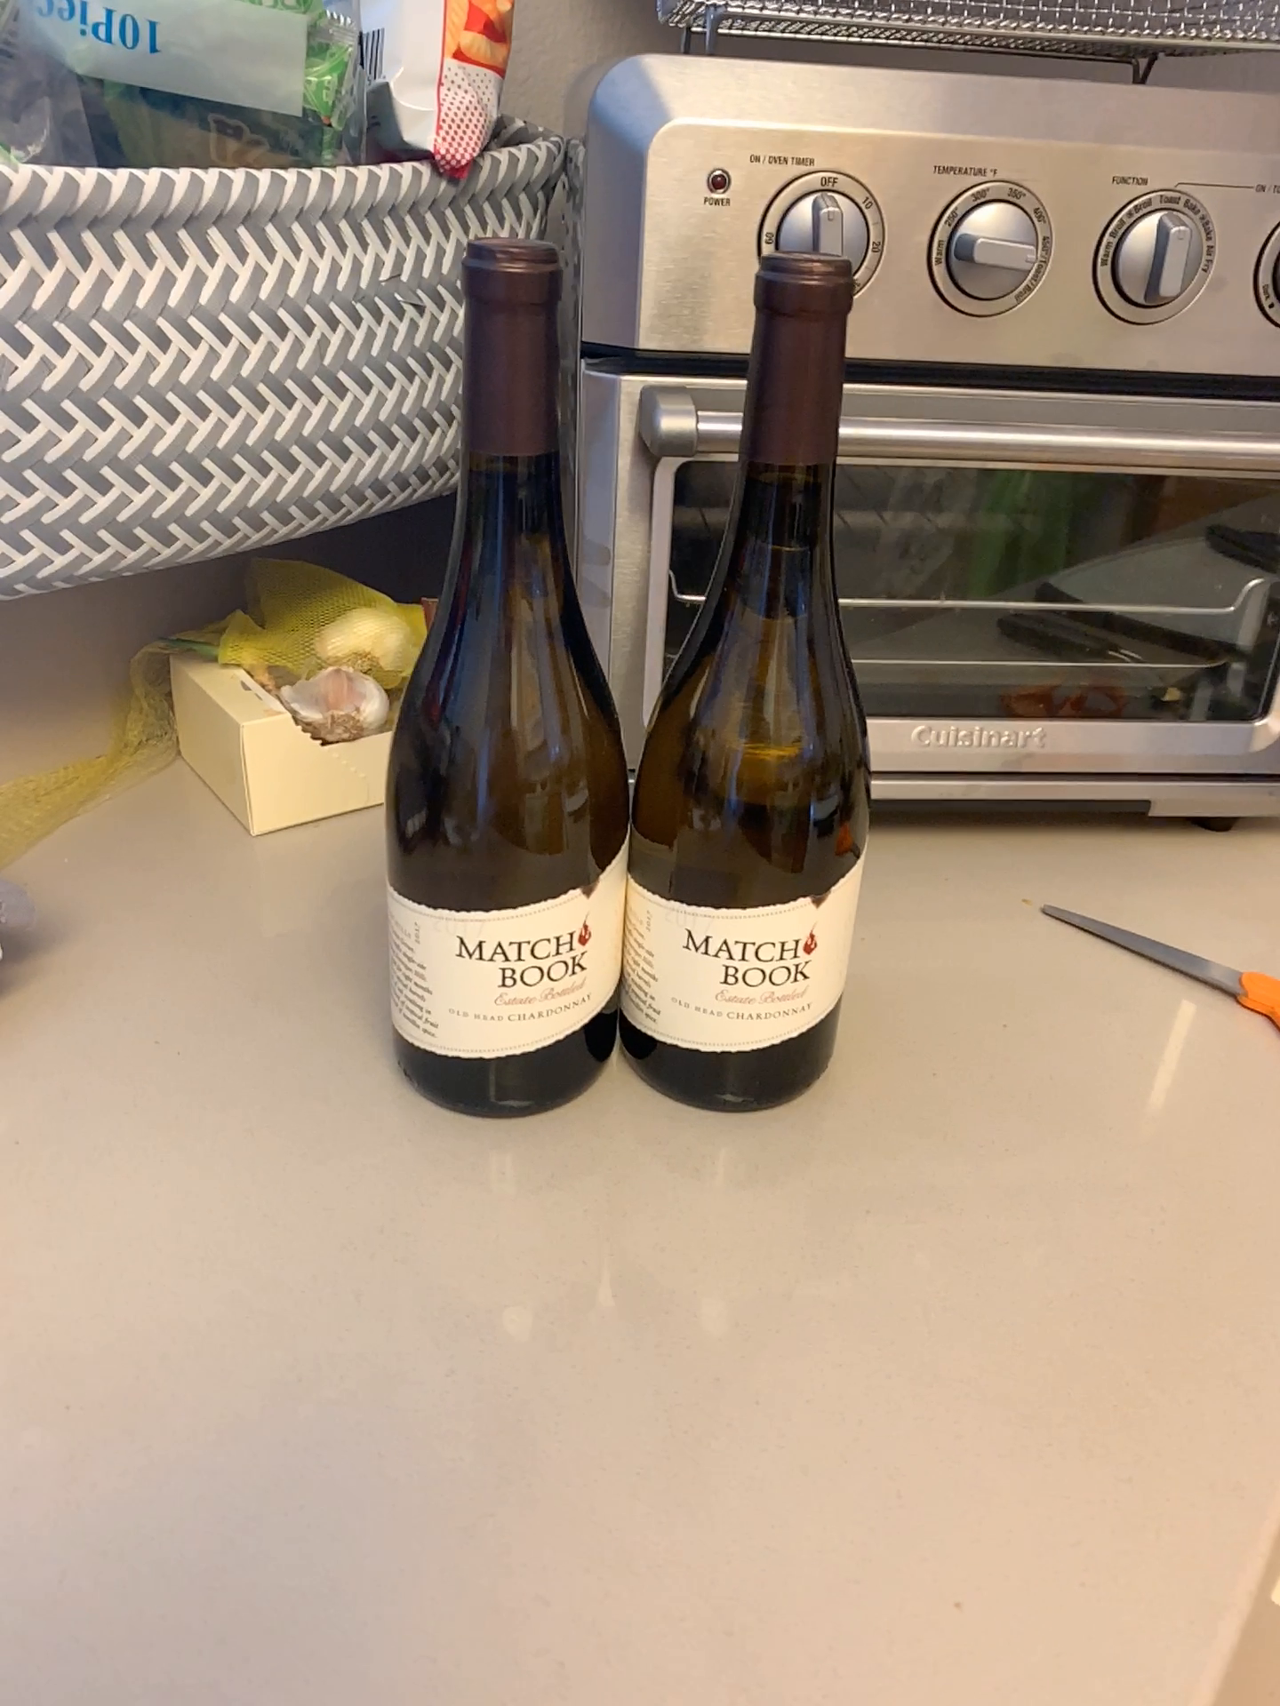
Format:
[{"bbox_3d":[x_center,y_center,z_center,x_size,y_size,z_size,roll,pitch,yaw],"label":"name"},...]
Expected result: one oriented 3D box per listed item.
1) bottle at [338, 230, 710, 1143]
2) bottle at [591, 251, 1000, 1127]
[{"bbox_3d":[-0.044,-0.048,0.449,0.090,0.288,0.091,2,29,-1],"label":"bottle"},{"bbox_3d":[0.038,-0.047,0.449,0.090,0.278,0.091,2,29,-1],"label":"bottle"}]
